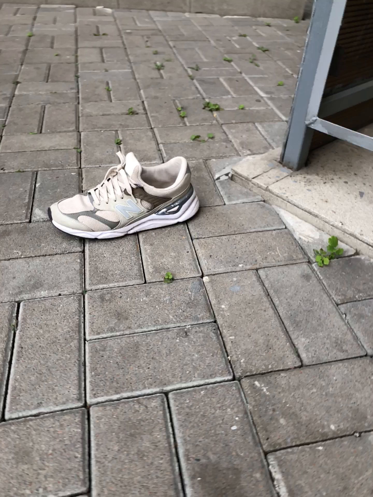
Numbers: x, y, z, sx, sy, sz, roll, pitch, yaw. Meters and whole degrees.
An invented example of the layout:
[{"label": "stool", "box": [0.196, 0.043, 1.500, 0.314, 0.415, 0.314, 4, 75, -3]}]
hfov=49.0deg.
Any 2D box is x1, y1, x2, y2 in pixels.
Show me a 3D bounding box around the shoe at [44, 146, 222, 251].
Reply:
[{"label": "shoe", "box": [-0.099, -0.101, 0.775, 0.300, 0.109, 0.121, -11, 41, -16]}]
